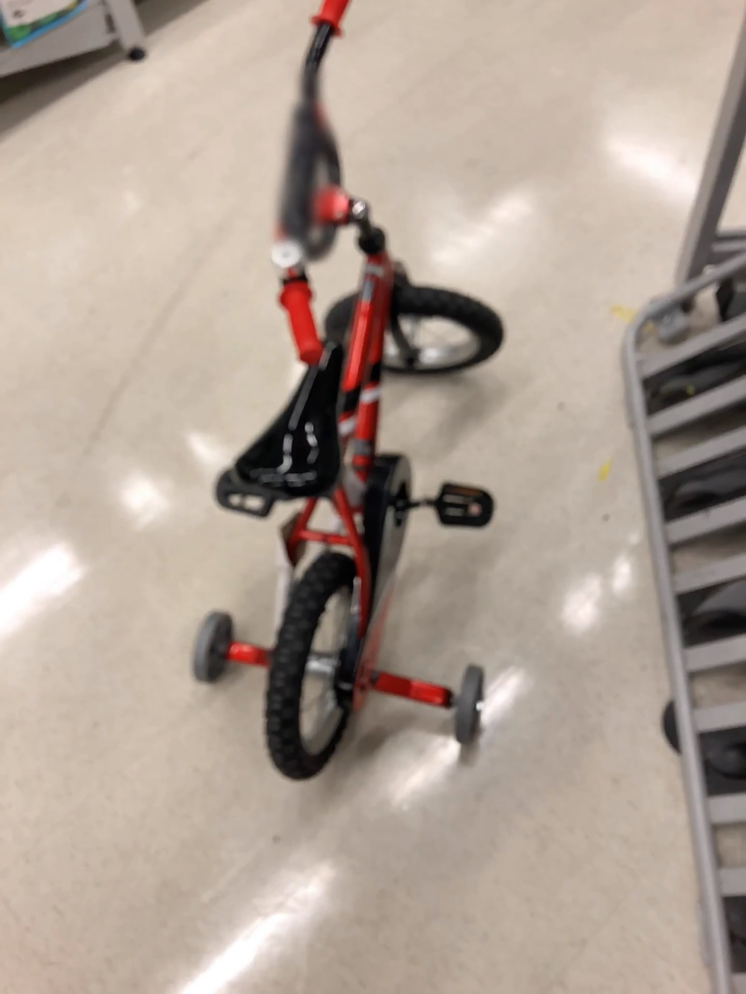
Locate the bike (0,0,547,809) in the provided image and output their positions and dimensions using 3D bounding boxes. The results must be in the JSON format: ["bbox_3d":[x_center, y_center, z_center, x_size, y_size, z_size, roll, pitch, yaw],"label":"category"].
[{"bbox_3d":[-0.100,-0.080,1.015,0.532,0.679,0.700,1,61,8],"label":"bike"}]
